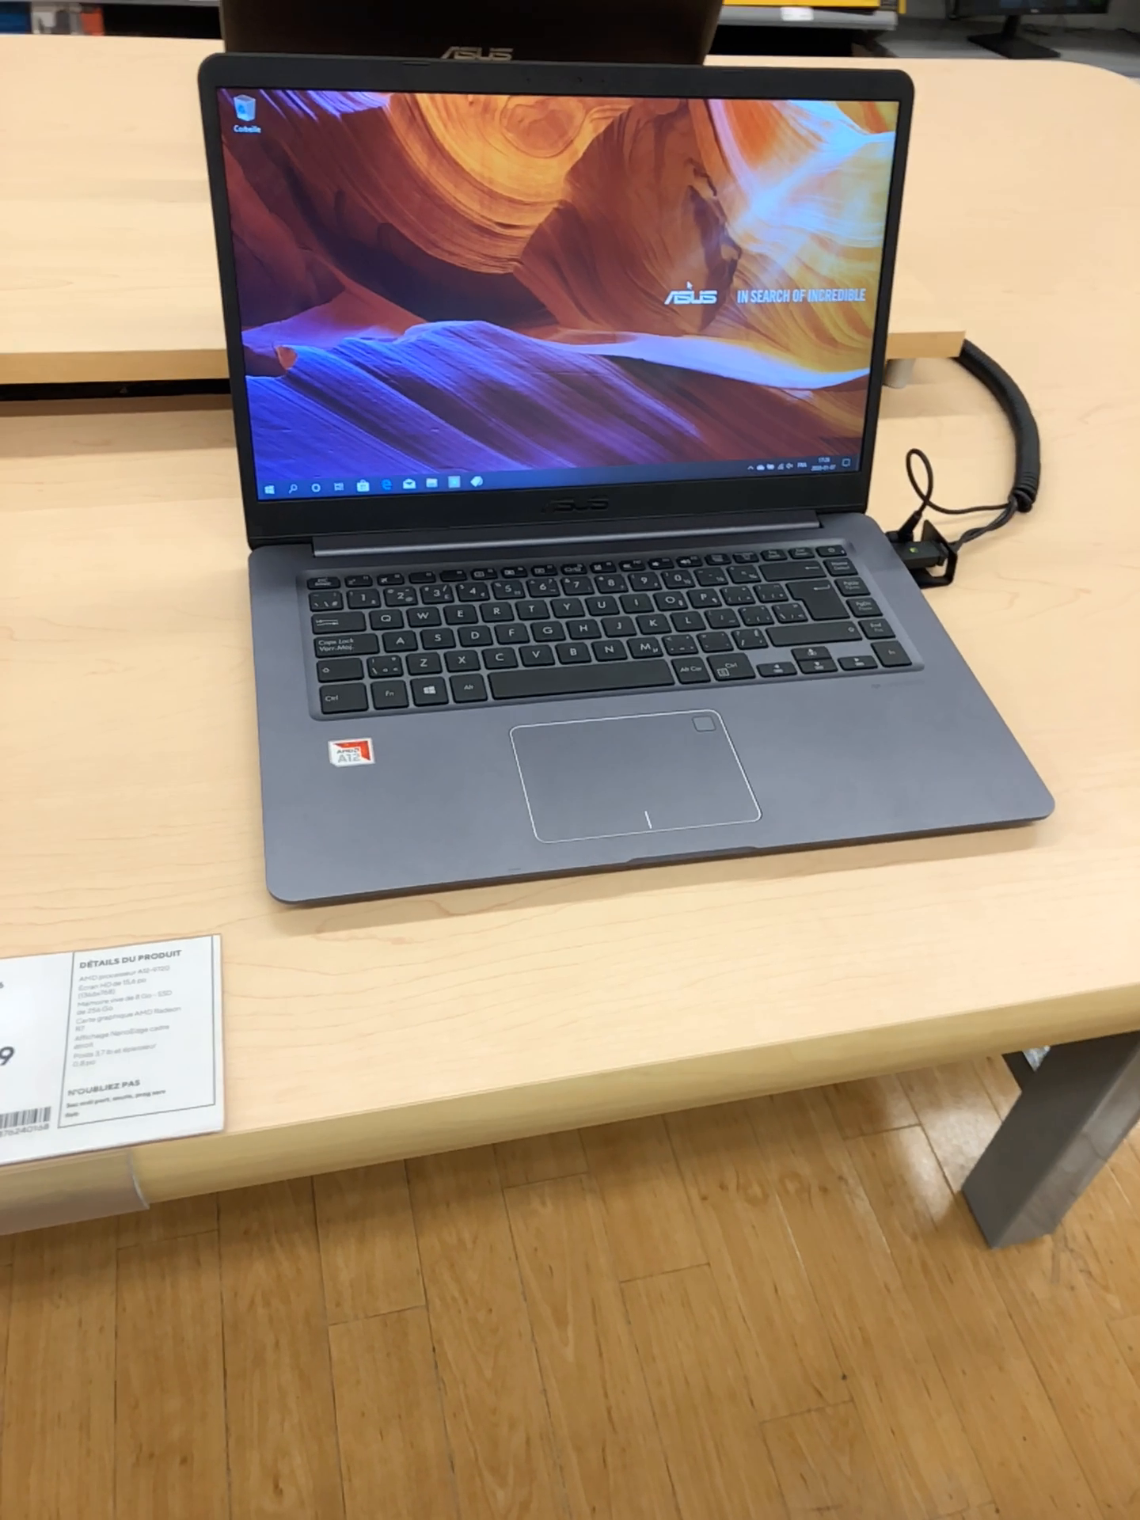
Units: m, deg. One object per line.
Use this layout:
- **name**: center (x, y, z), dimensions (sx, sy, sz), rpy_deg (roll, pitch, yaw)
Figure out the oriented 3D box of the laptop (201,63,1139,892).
- **laptop**: center (0.029, -0.151, 0.593), dimensions (0.361, 0.223, 0.318), rpy_deg (-5, 46, -13)
